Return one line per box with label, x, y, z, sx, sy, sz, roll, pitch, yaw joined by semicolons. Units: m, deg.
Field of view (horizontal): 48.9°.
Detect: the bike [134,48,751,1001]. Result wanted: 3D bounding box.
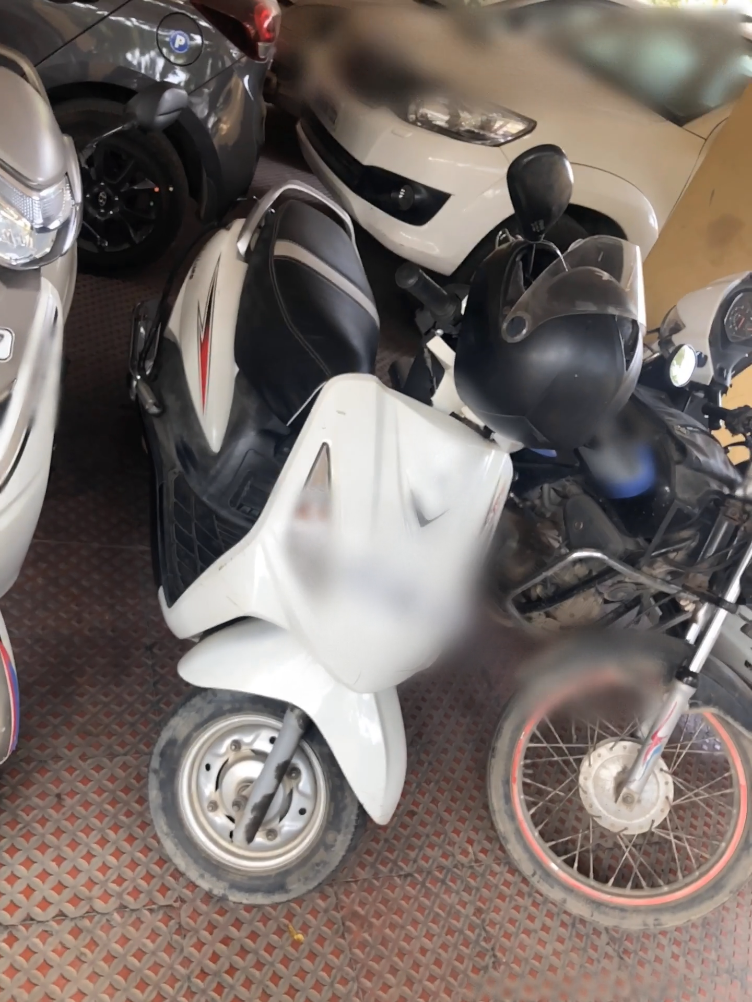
bike;0.051;-0.020;1.906;0.834;0.941;1.512;4;48;-31
